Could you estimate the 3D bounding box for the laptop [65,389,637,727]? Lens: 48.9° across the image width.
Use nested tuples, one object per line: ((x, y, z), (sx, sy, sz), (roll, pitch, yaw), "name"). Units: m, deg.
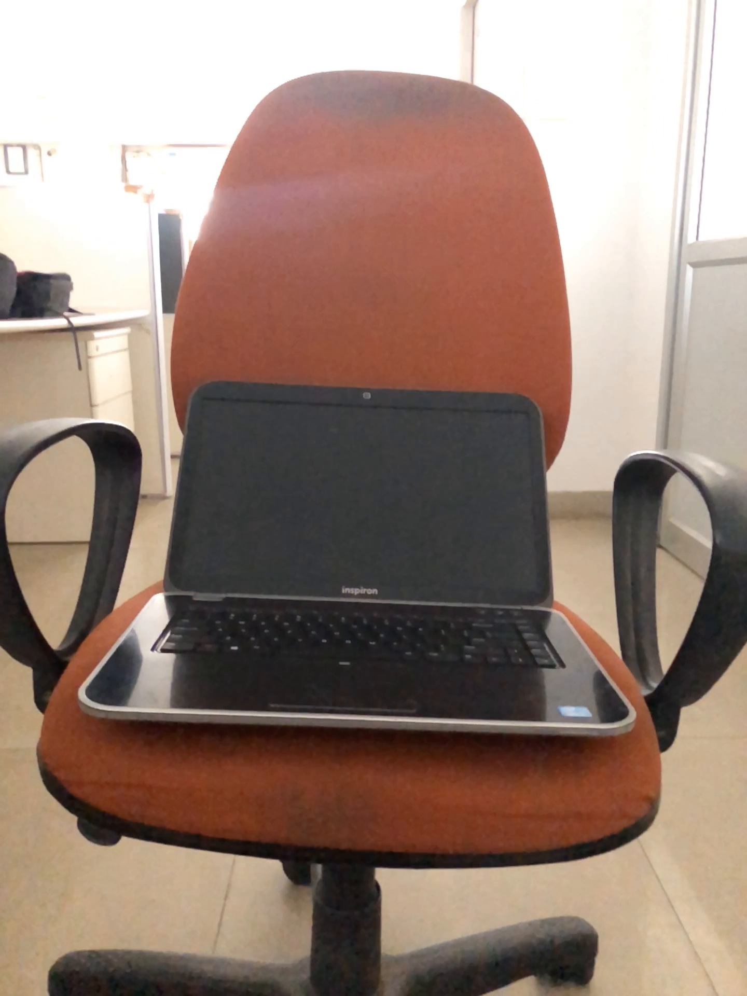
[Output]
((-0.016, 0.018, 0.694), (0.352, 0.173, 0.352), (1, 14, 1), "laptop")
